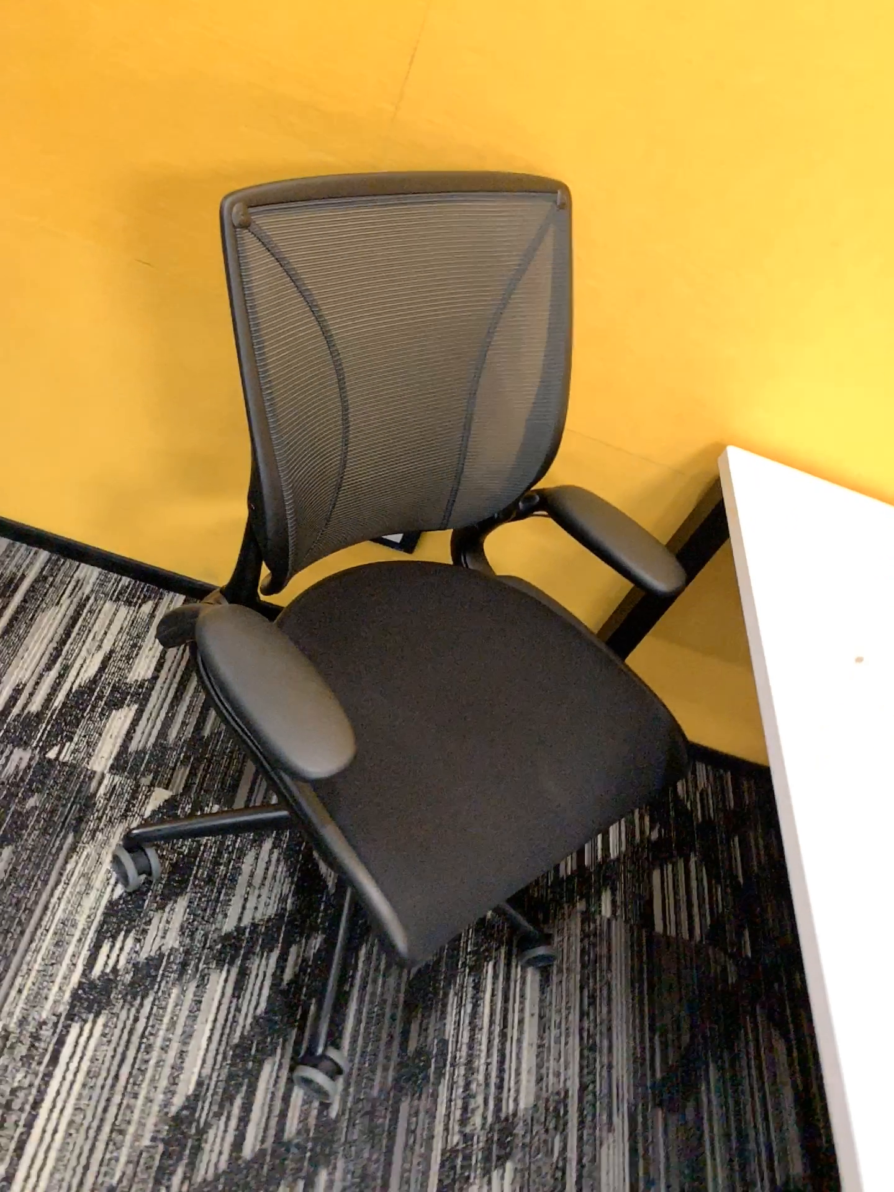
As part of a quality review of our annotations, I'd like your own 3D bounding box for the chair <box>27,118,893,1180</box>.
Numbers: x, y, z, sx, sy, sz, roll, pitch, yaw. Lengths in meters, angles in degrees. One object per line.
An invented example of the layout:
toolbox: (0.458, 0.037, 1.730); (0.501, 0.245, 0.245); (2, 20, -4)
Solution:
chair: (-0.017, 0.065, 0.939); (0.543, 0.814, 0.571); (-26, 66, -40)
